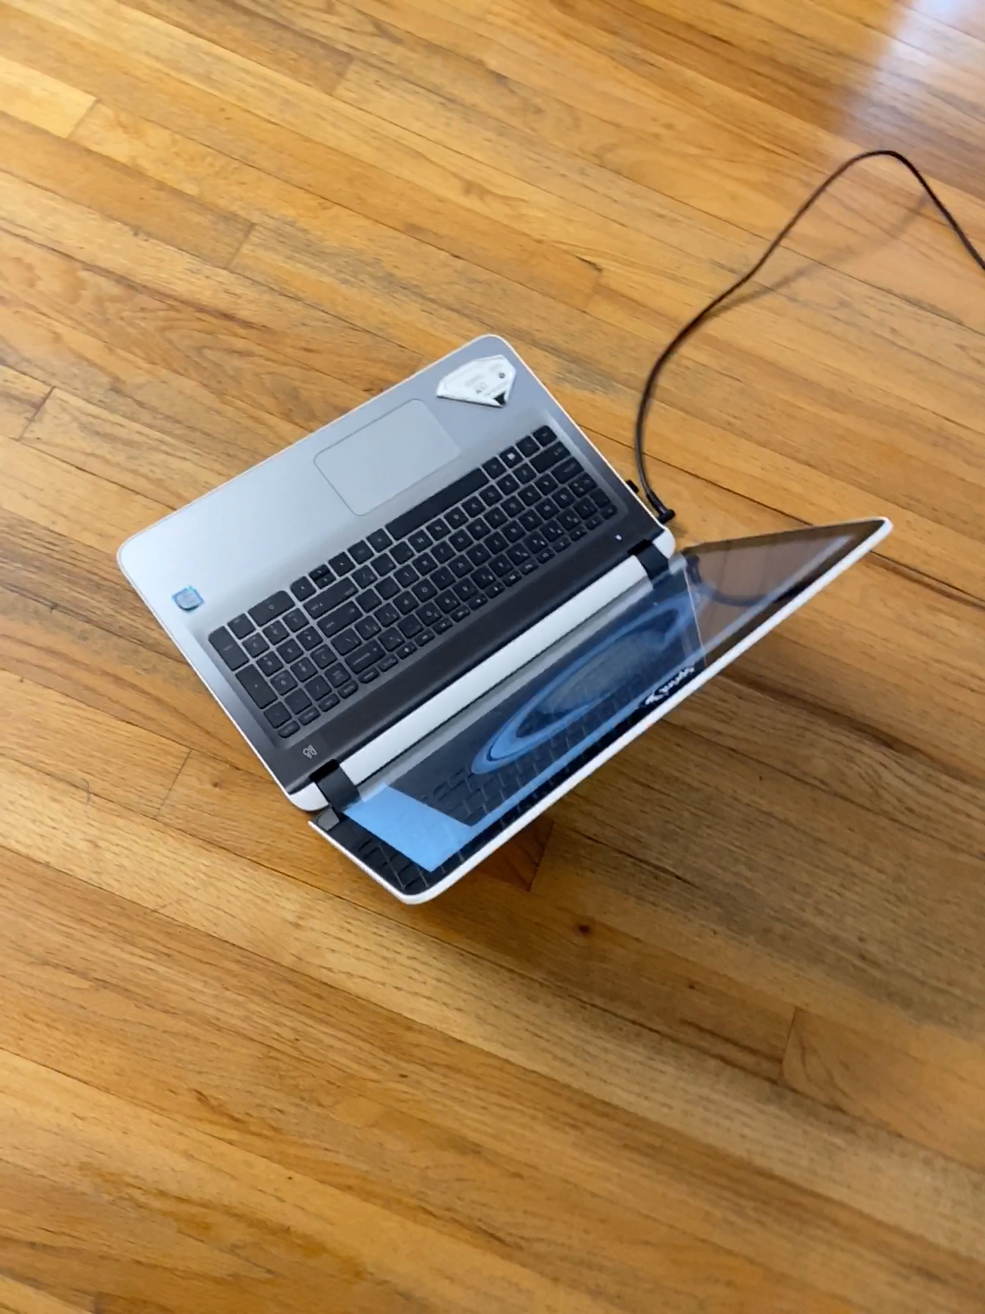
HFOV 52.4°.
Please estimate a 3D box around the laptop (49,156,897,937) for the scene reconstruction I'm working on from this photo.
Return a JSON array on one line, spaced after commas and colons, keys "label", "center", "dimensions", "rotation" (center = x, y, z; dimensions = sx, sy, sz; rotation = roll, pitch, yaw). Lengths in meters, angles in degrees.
[{"label": "laptop", "center": [-0.017, -0.078, 0.700], "dimensions": [0.371, 0.202, 0.363], "rotation": [-35, 78, -19]}]
